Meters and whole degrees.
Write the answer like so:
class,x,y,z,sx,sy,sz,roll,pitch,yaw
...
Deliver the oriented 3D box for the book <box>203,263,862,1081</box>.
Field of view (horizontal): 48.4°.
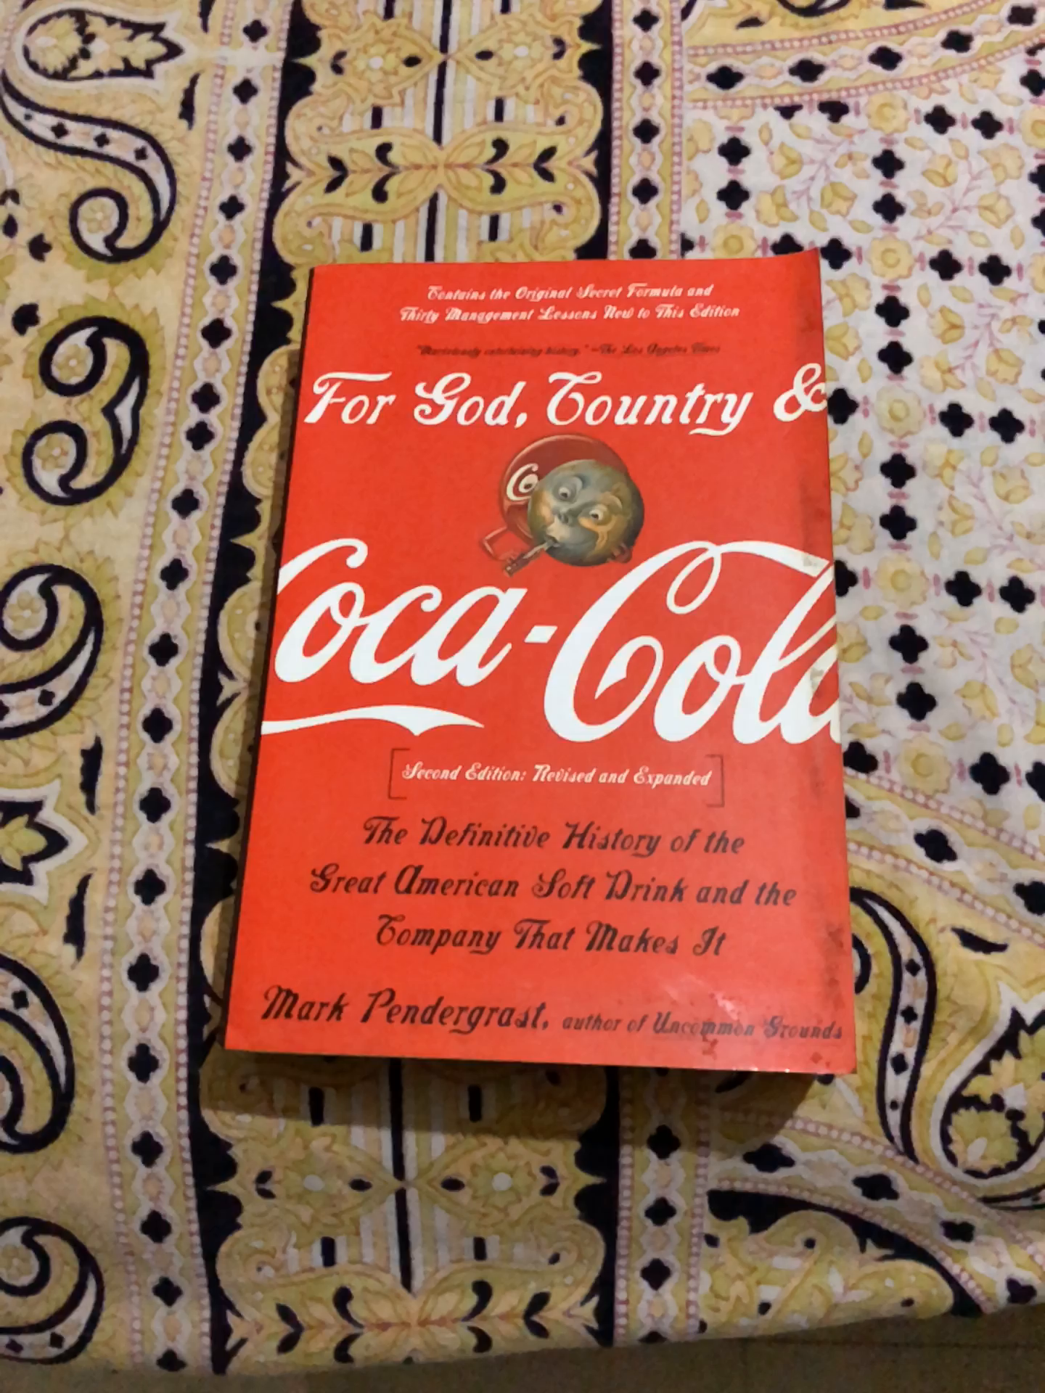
class,x,y,z,sx,sy,sz,roll,pitch,yaw
book,0.006,-0.012,0.340,0.160,0.050,0.230,1,72,4
